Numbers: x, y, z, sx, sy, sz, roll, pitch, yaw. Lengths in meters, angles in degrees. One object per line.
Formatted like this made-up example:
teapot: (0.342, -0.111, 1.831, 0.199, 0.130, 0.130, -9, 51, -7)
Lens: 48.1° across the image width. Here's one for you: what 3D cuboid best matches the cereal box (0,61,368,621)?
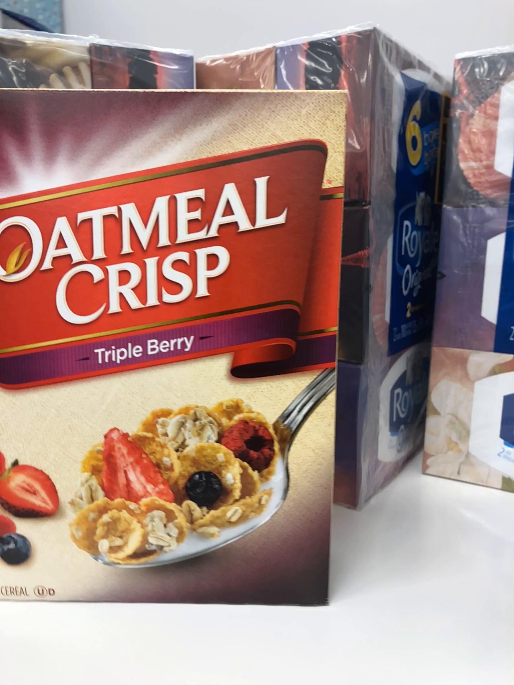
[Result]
cereal box: (-0.052, 0.004, 0.306, 0.200, 0.269, 0.060, 1, 10, 1)
